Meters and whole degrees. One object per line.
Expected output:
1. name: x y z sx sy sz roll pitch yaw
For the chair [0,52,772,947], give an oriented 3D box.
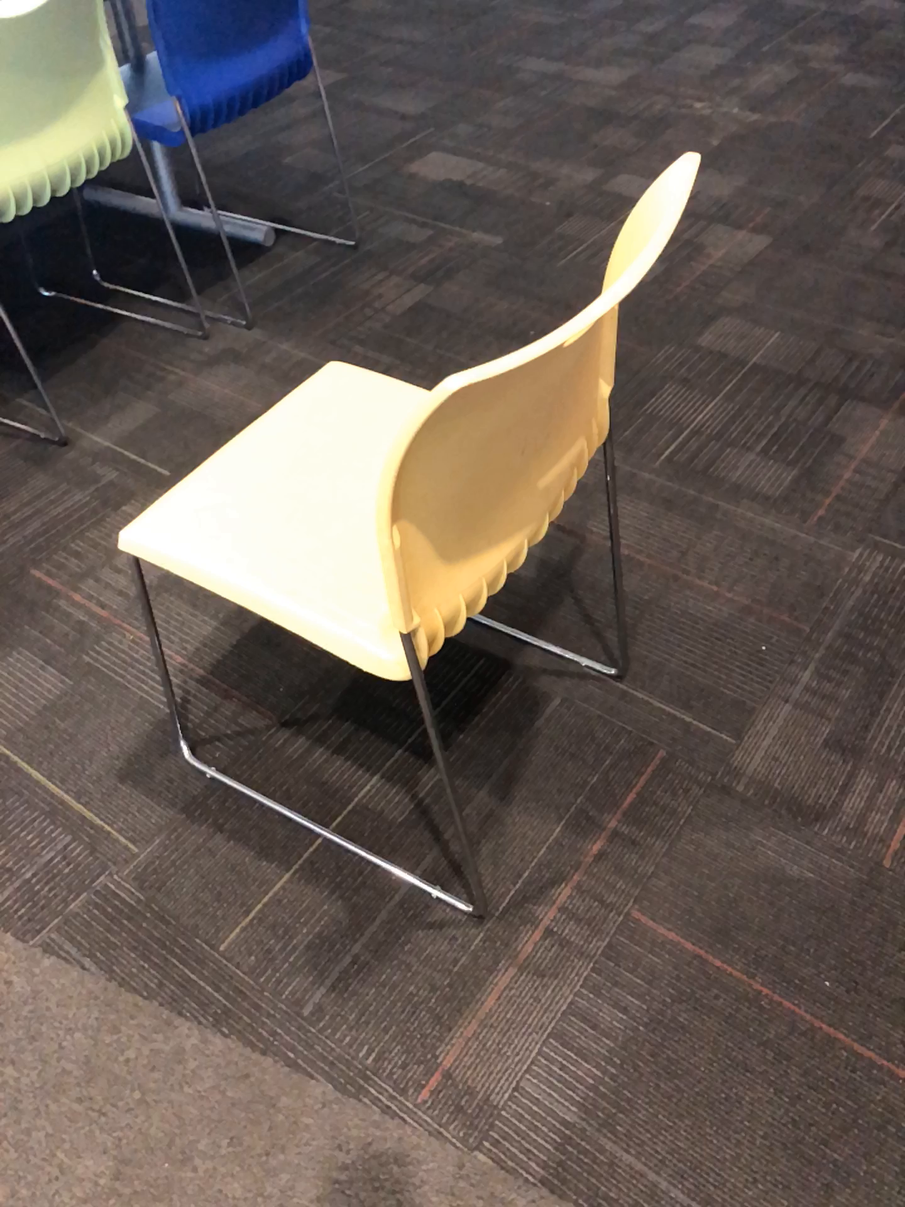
1. chair: -0.057 -0.134 1.186 0.561 0.737 0.572 22 50 23
